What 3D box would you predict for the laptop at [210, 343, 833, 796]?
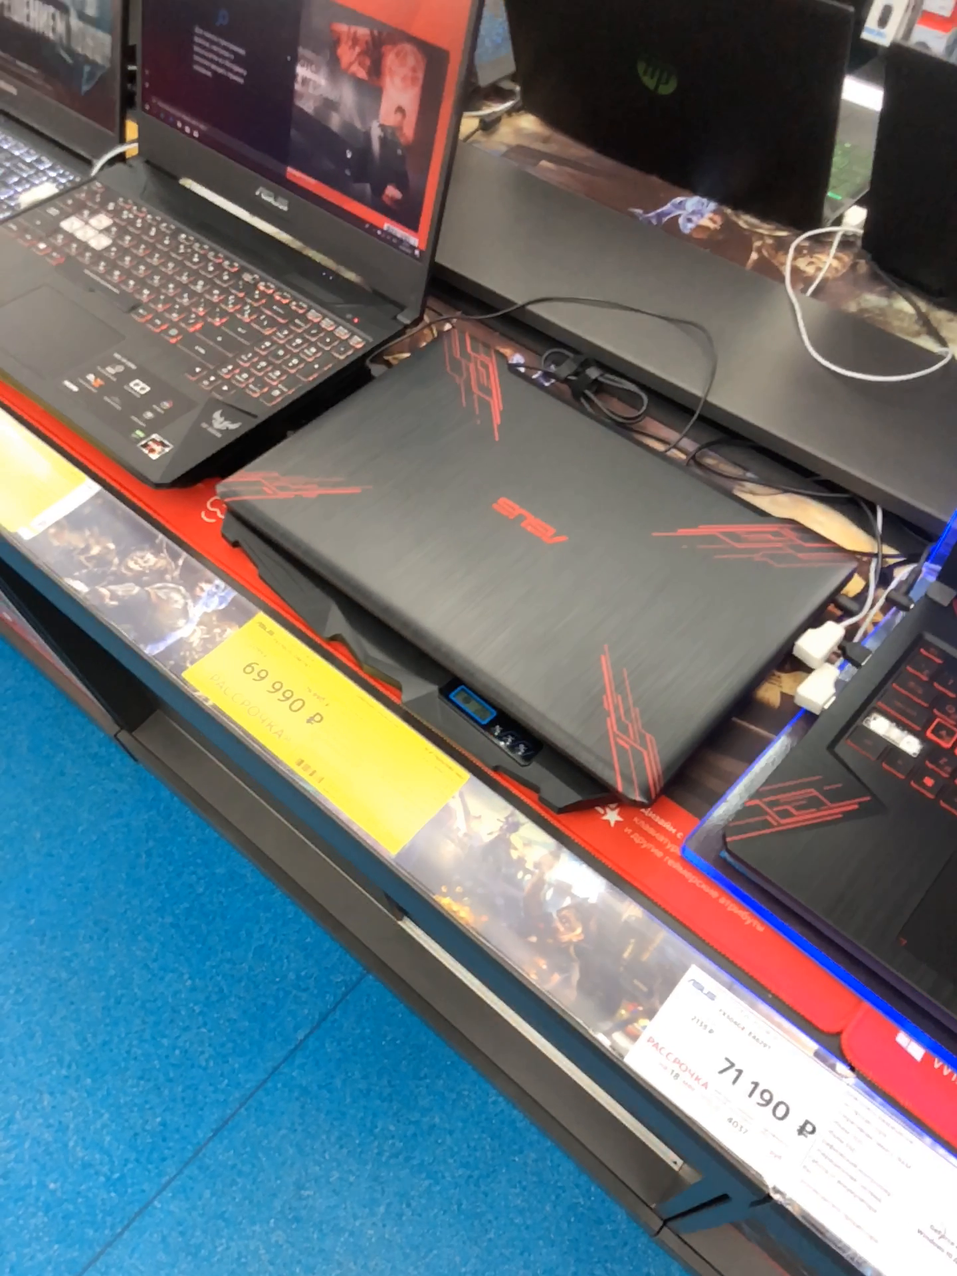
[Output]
[{"bbox_3d":[0.027,-0.075,0.718,0.358,0.003,0.240,34,57,23],"label":"laptop"}]
